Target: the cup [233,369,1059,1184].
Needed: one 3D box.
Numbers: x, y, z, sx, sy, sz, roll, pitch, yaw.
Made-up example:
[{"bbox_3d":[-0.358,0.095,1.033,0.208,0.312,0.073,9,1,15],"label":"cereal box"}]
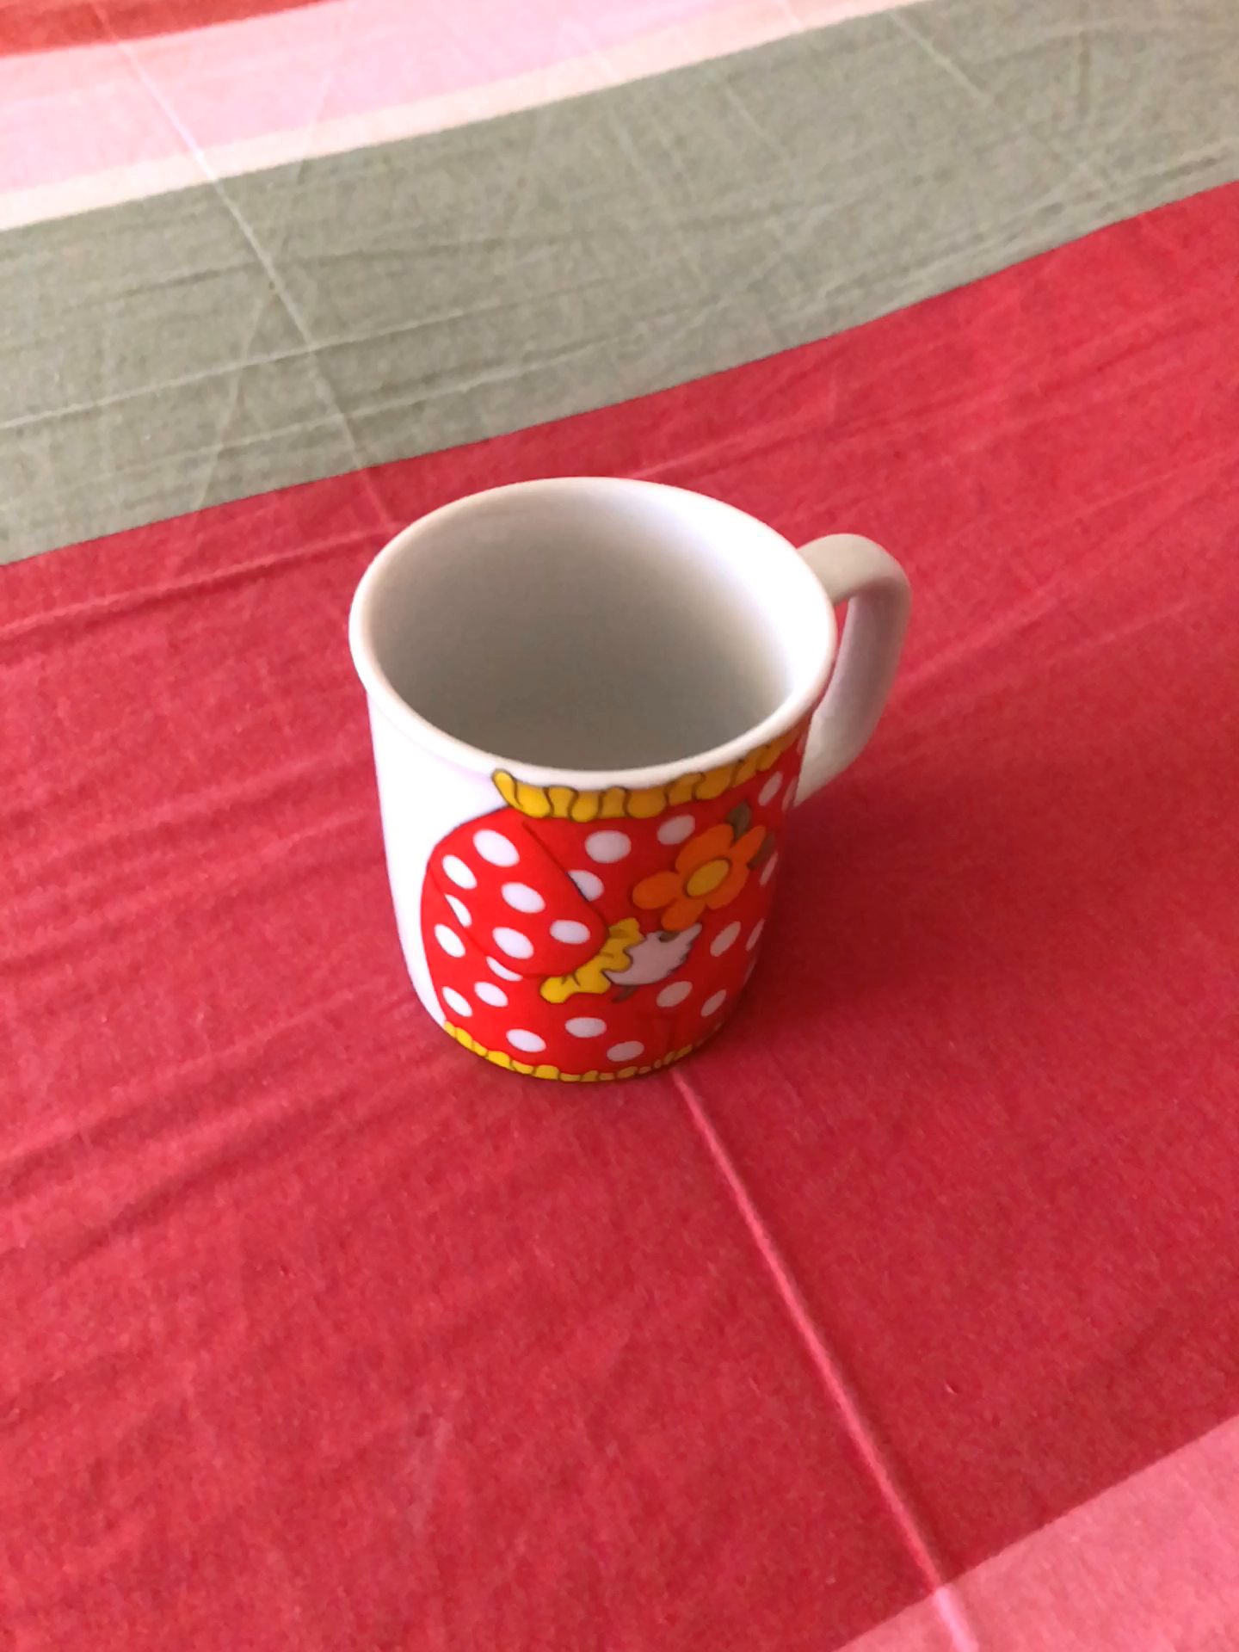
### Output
[{"bbox_3d":[0.004,-0.015,0.274,0.116,0.086,0.089,-32,57,-28],"label":"cup"}]
